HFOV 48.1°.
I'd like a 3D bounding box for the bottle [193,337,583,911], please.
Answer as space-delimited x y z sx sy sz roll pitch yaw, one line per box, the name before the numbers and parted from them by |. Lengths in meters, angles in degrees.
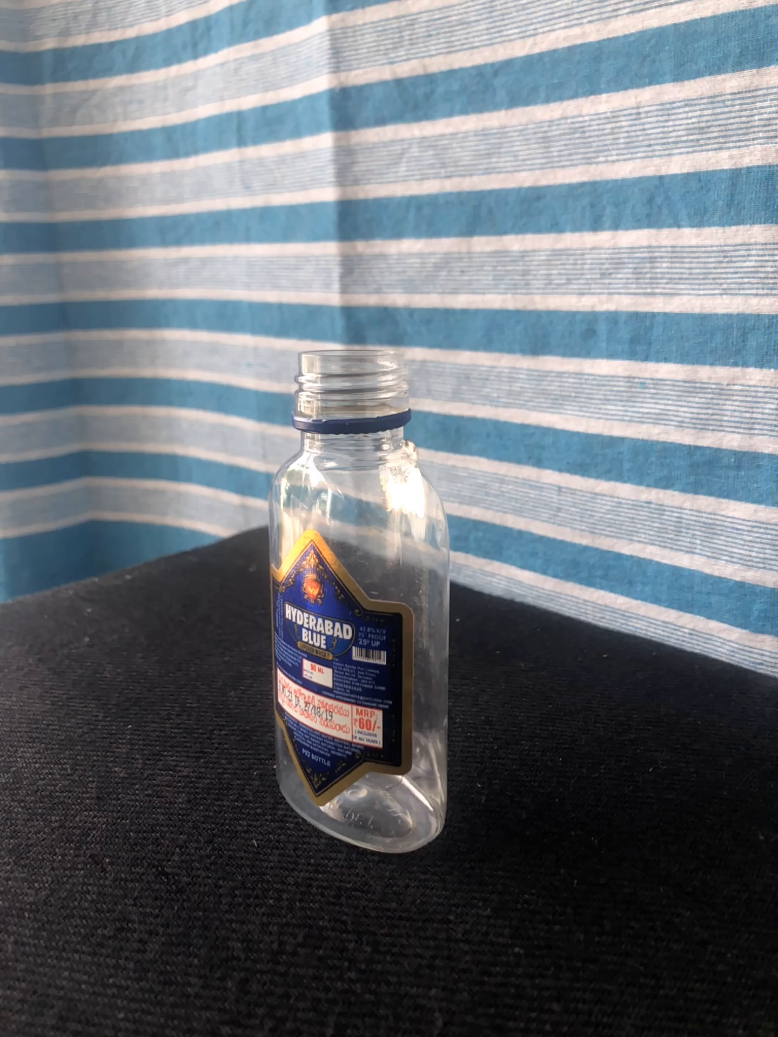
bottle | 0.000 0.016 0.189 0.060 0.100 0.050 15 24 41
